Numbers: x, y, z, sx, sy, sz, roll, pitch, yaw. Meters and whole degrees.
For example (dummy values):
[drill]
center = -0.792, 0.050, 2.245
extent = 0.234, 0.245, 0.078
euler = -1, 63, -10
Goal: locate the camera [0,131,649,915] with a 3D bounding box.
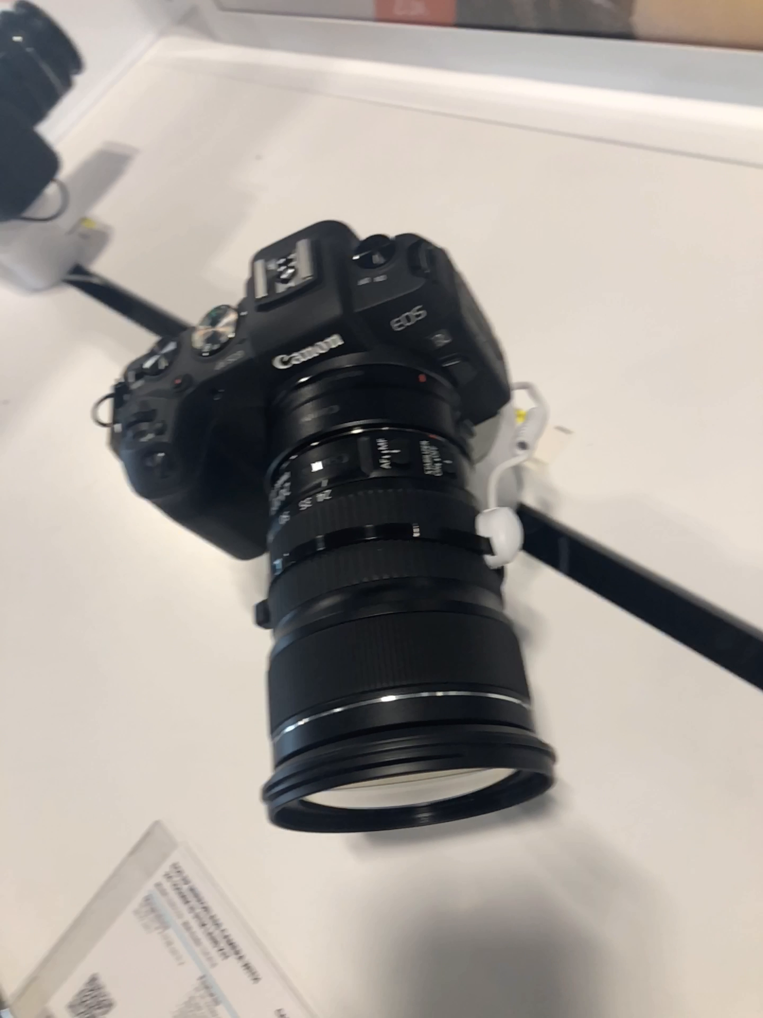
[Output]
[camera]
center = -0.021, 0.005, 0.263
extent = 0.136, 0.089, 0.191
euler = -21, 54, 17
